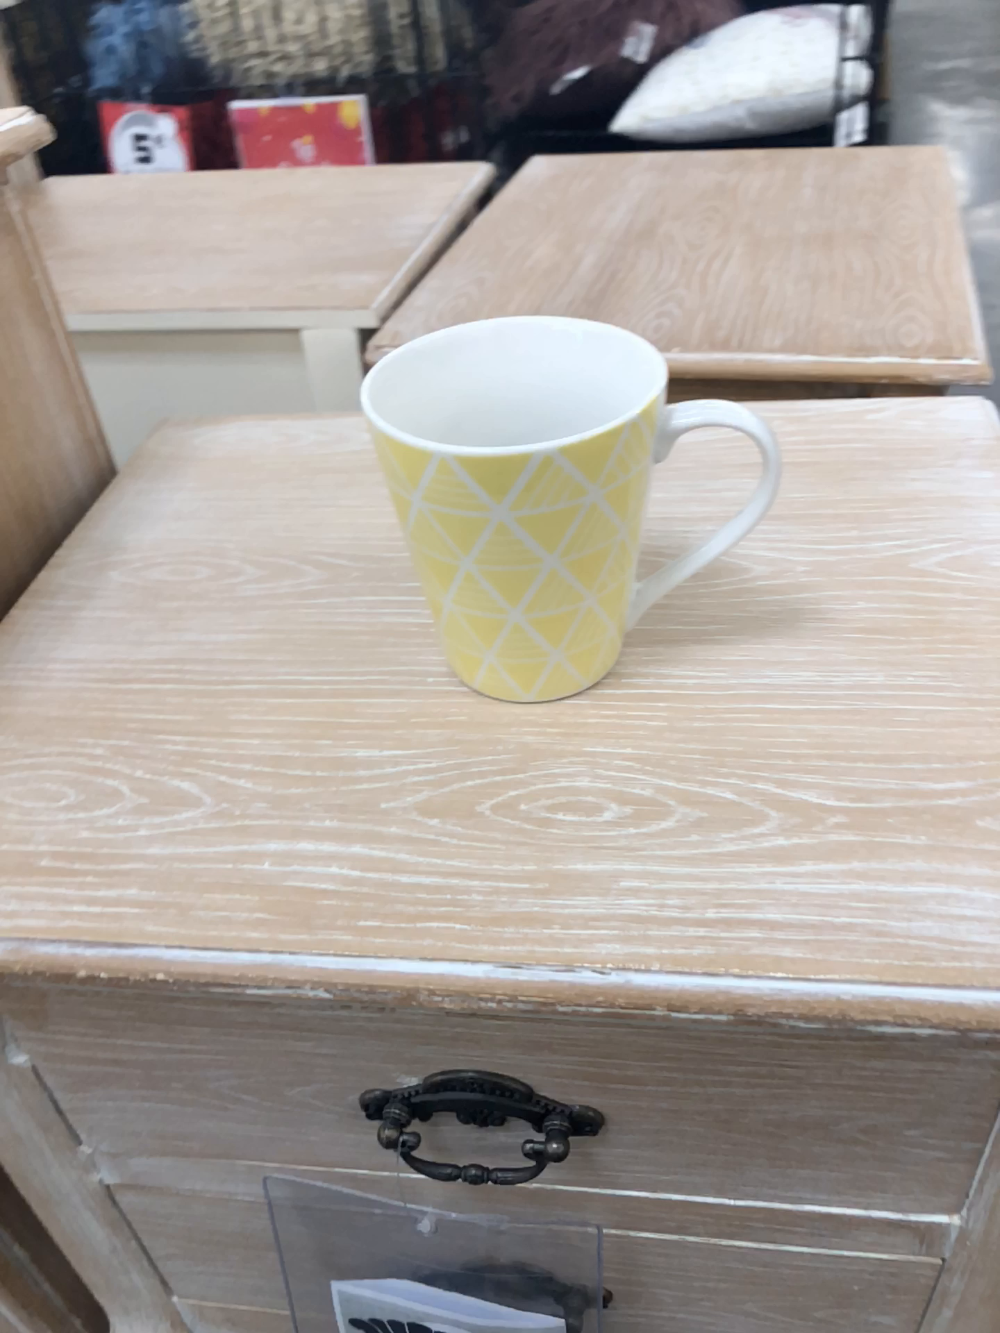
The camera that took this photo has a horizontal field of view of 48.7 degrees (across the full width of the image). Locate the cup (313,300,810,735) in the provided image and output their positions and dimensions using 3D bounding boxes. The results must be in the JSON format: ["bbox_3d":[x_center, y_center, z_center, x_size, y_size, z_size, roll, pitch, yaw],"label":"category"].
[{"bbox_3d":[0.021,-0.048,0.345,0.125,0.090,0.103,-2,37,6],"label":"cup"}]
